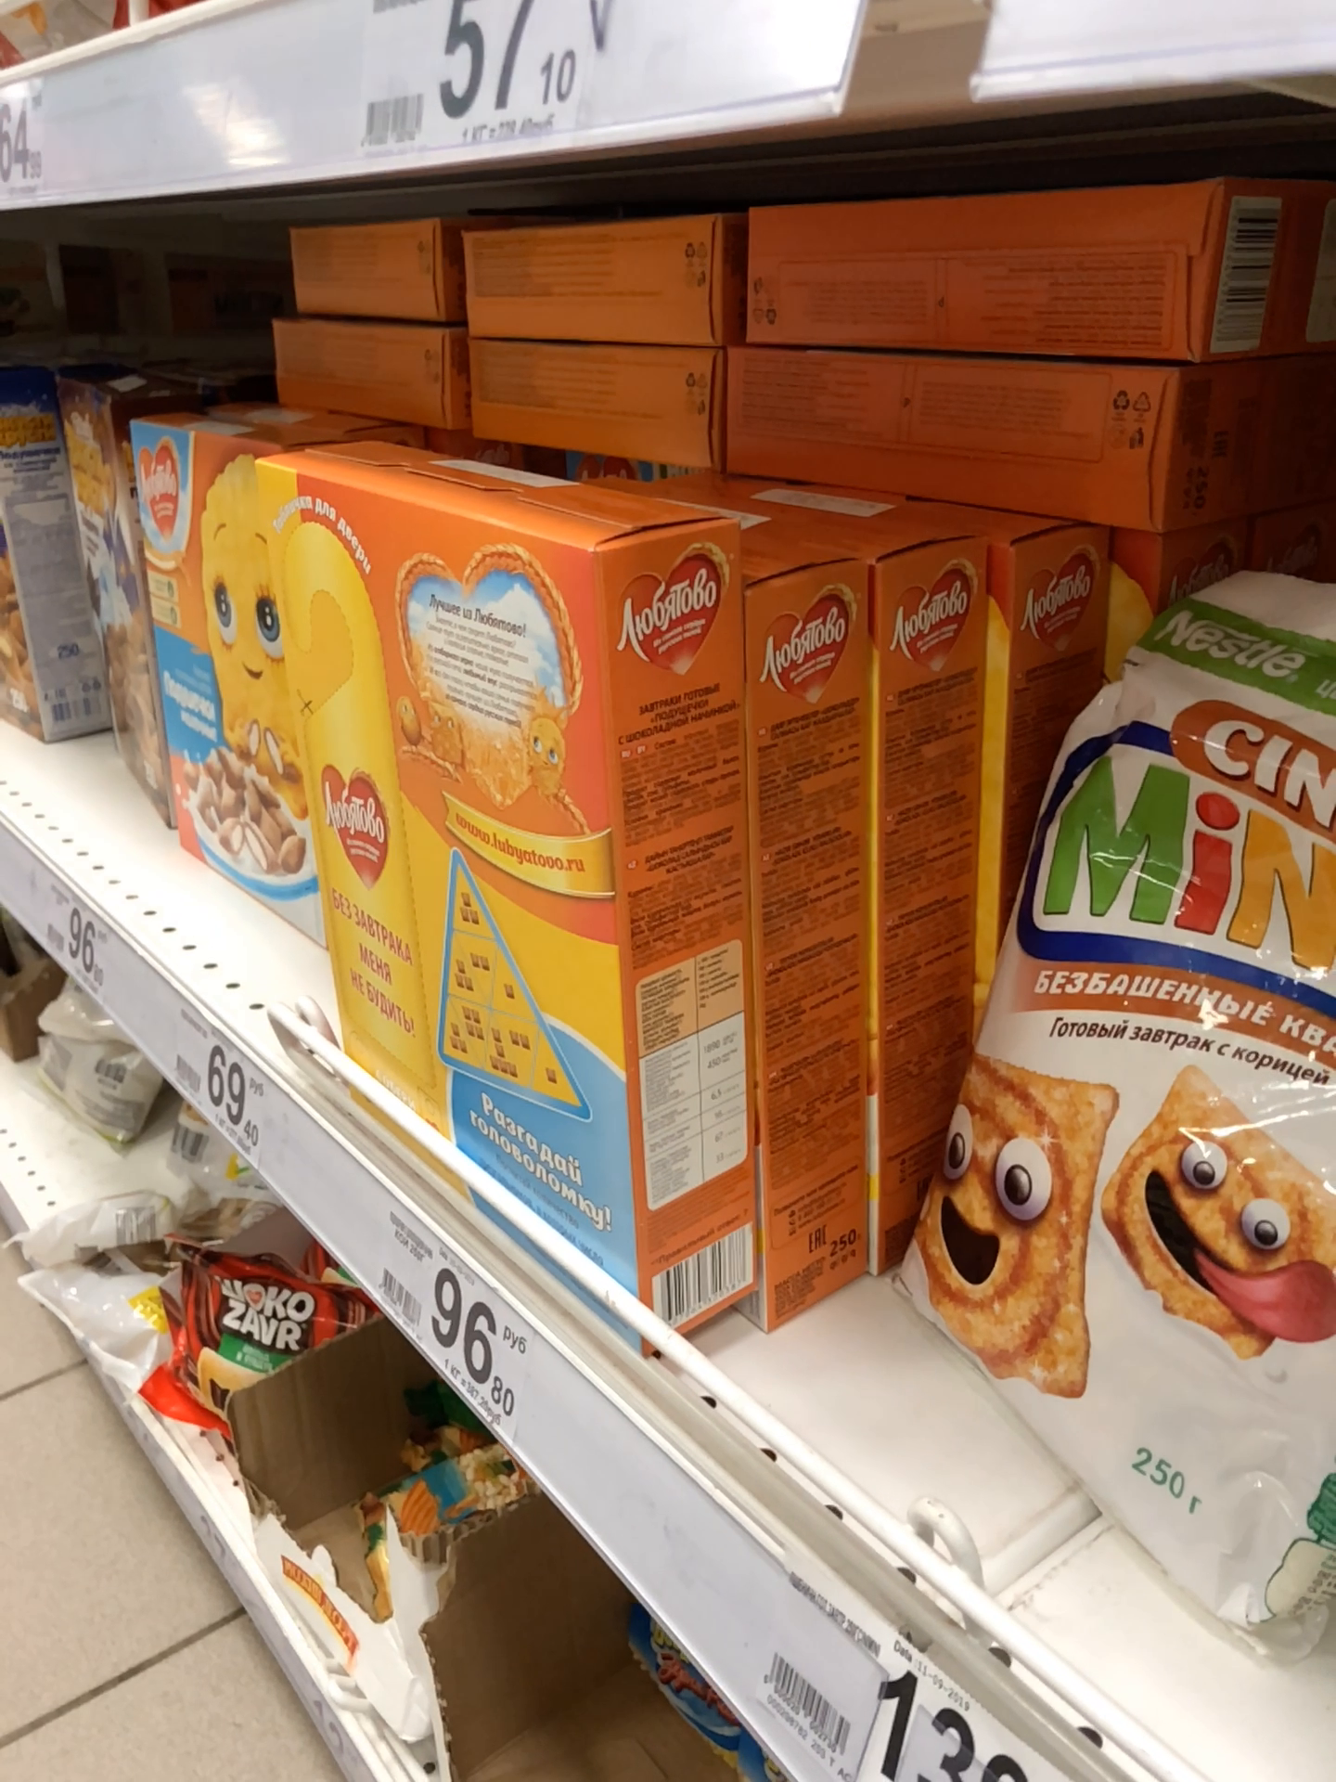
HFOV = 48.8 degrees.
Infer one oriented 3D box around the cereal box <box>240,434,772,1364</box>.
[{"bbox_3d":[-0.049,-0.007,0.442,0.050,0.229,0.181,-20,30,-33],"label":"cereal box"}]
